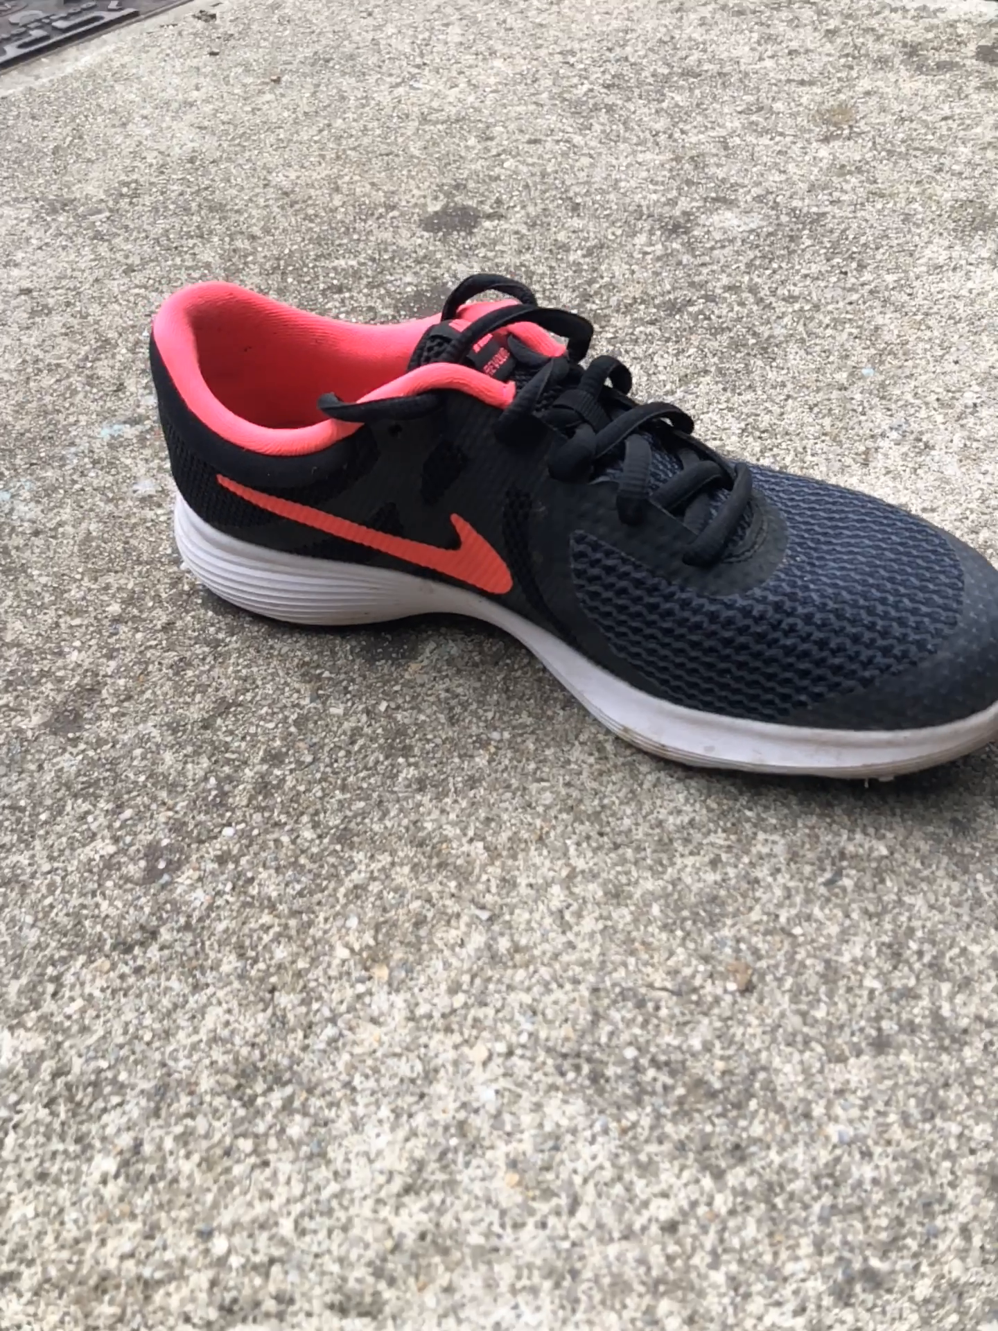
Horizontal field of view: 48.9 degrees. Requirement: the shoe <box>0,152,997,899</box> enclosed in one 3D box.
[{"bbox_3d":[0.014,-0.053,0.303,0.272,0.100,0.111,17,52,20],"label":"shoe"}]
